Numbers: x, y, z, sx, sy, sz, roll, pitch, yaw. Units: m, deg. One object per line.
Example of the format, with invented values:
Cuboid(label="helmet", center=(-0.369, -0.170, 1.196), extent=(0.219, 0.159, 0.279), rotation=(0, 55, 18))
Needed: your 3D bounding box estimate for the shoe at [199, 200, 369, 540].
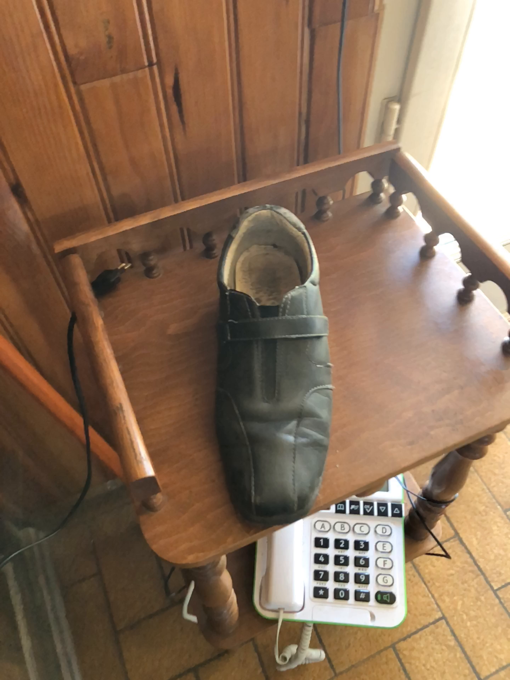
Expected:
Cuboid(label="shoe", center=(0.015, 0.014, 0.444), extent=(0.100, 0.099, 0.251), rotation=(-2, 54, 0))
